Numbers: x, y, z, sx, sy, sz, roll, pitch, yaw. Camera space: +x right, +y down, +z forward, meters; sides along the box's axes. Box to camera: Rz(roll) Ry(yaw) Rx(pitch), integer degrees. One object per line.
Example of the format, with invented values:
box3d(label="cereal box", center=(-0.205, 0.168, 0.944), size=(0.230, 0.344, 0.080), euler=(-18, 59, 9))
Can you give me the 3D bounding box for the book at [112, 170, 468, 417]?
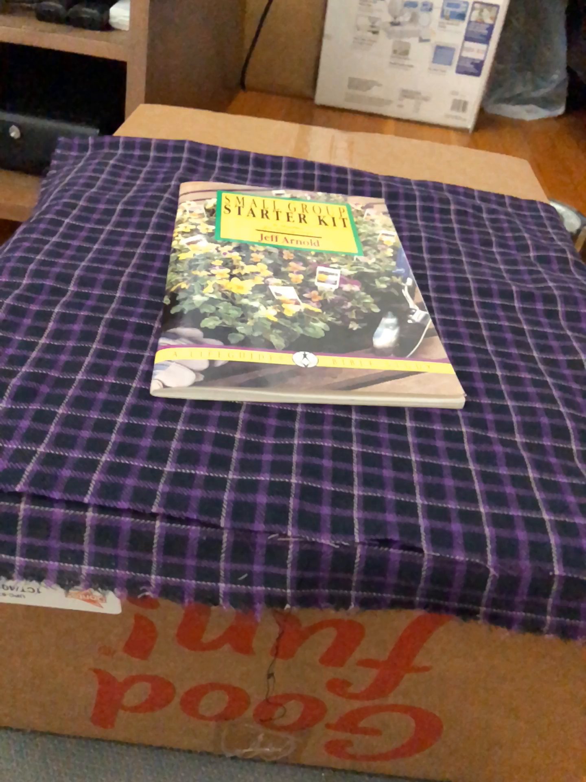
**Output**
box3d(label="book", center=(-0.007, -0.067, 0.358), size=(0.150, 0.010, 0.221), euler=(2, 40, -7))
